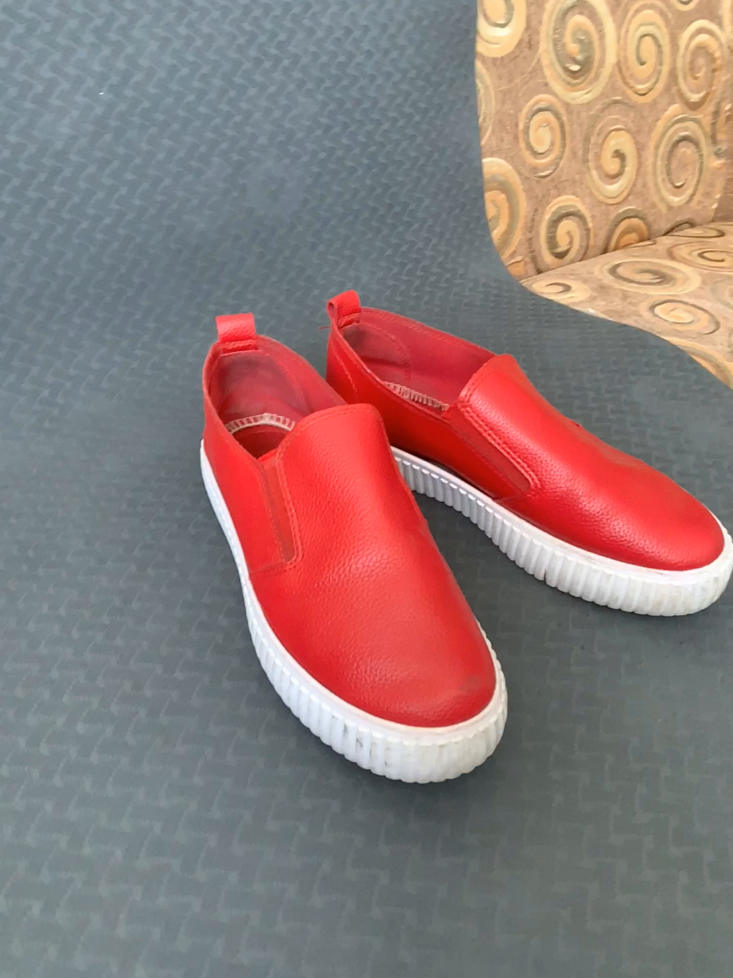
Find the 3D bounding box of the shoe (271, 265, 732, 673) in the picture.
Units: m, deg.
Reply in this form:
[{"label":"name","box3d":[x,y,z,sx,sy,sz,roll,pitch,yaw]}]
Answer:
[{"label":"shoe","box3d":[0.074,-0.025,0.381,0.241,0.070,0.096,30,48,24]}]

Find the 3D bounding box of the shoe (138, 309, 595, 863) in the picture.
[{"label":"shoe","box3d":[-0.021,0.017,0.335,0.095,0.070,0.241,-15,46,-21]}]
